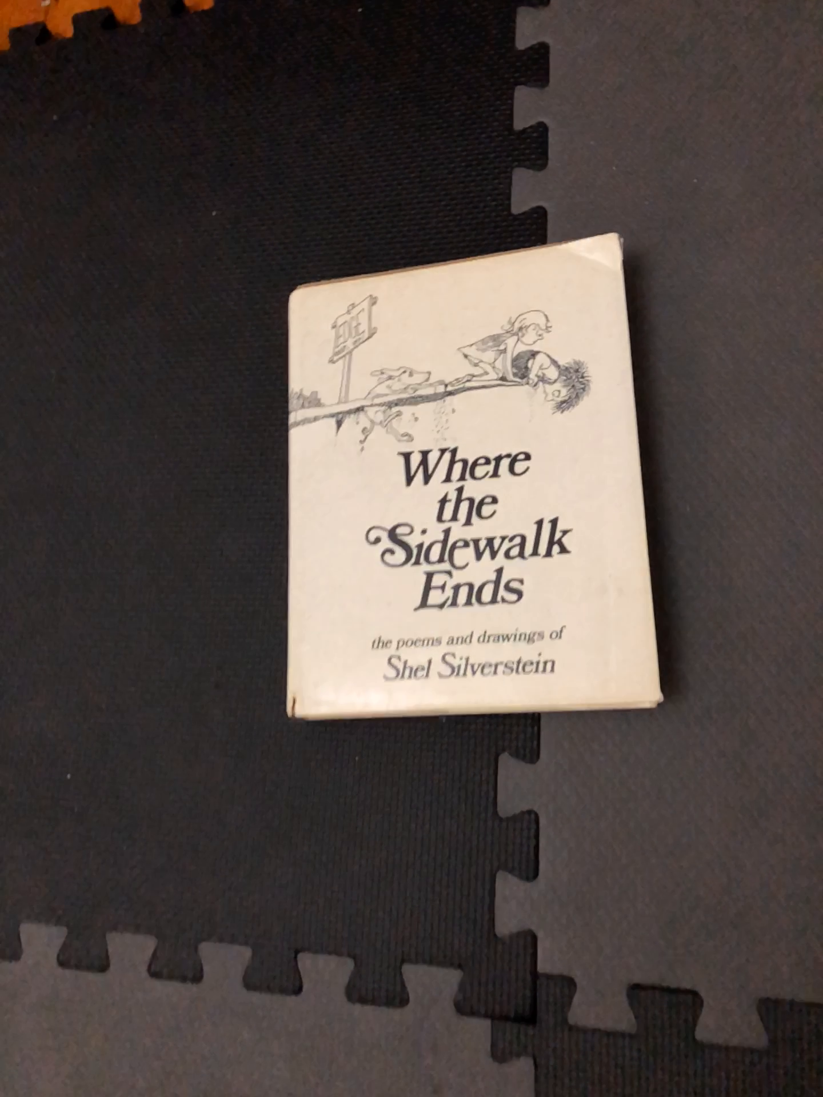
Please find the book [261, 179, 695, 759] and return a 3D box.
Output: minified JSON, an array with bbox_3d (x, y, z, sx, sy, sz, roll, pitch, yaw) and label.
[{"bbox_3d":[0.027,-0.038,0.459,0.200,0.030,0.280,-4,75,16],"label":"book"}]
